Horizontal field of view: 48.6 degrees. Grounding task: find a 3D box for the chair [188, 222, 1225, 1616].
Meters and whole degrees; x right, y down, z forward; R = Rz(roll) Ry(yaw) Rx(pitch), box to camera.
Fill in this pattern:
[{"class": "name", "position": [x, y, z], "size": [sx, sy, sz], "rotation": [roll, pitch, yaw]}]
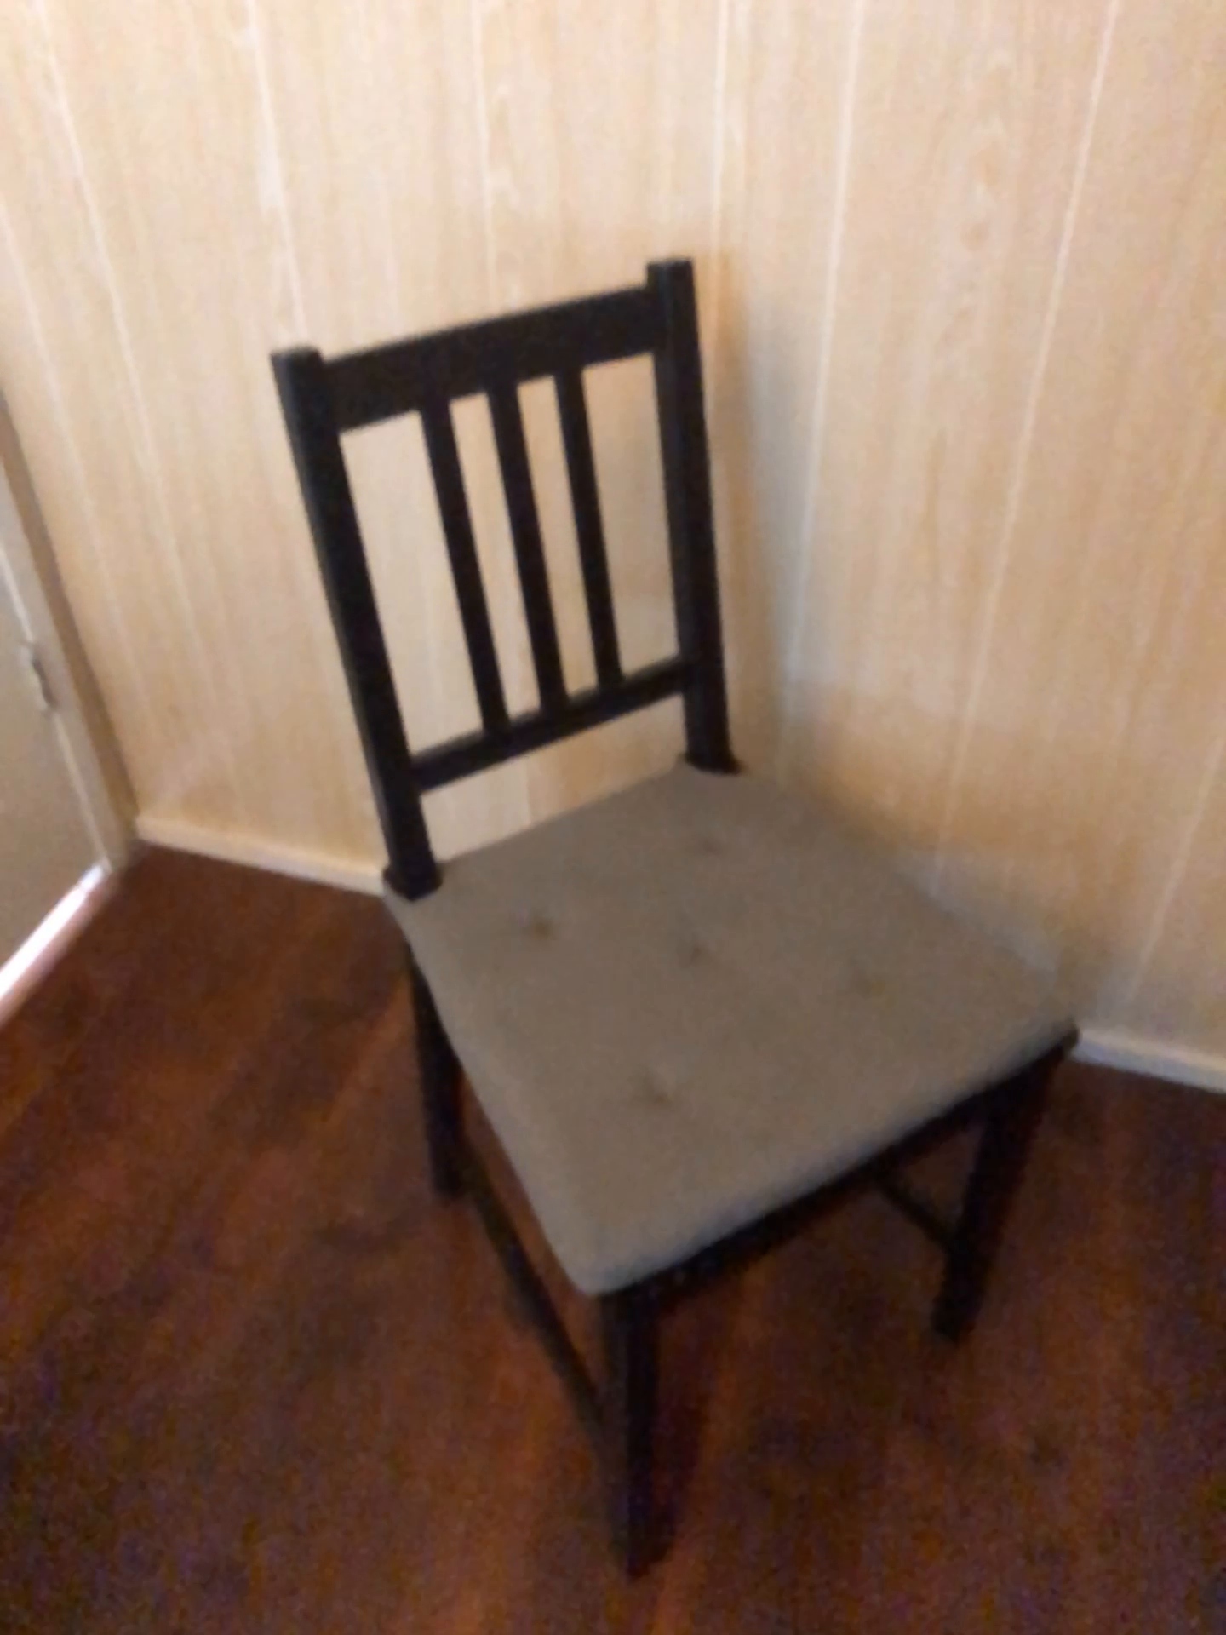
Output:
[{"class": "chair", "position": [0.060, 0.087, 1.042], "size": [0.440, 0.834, 0.513], "rotation": [-23, 46, -24]}]
